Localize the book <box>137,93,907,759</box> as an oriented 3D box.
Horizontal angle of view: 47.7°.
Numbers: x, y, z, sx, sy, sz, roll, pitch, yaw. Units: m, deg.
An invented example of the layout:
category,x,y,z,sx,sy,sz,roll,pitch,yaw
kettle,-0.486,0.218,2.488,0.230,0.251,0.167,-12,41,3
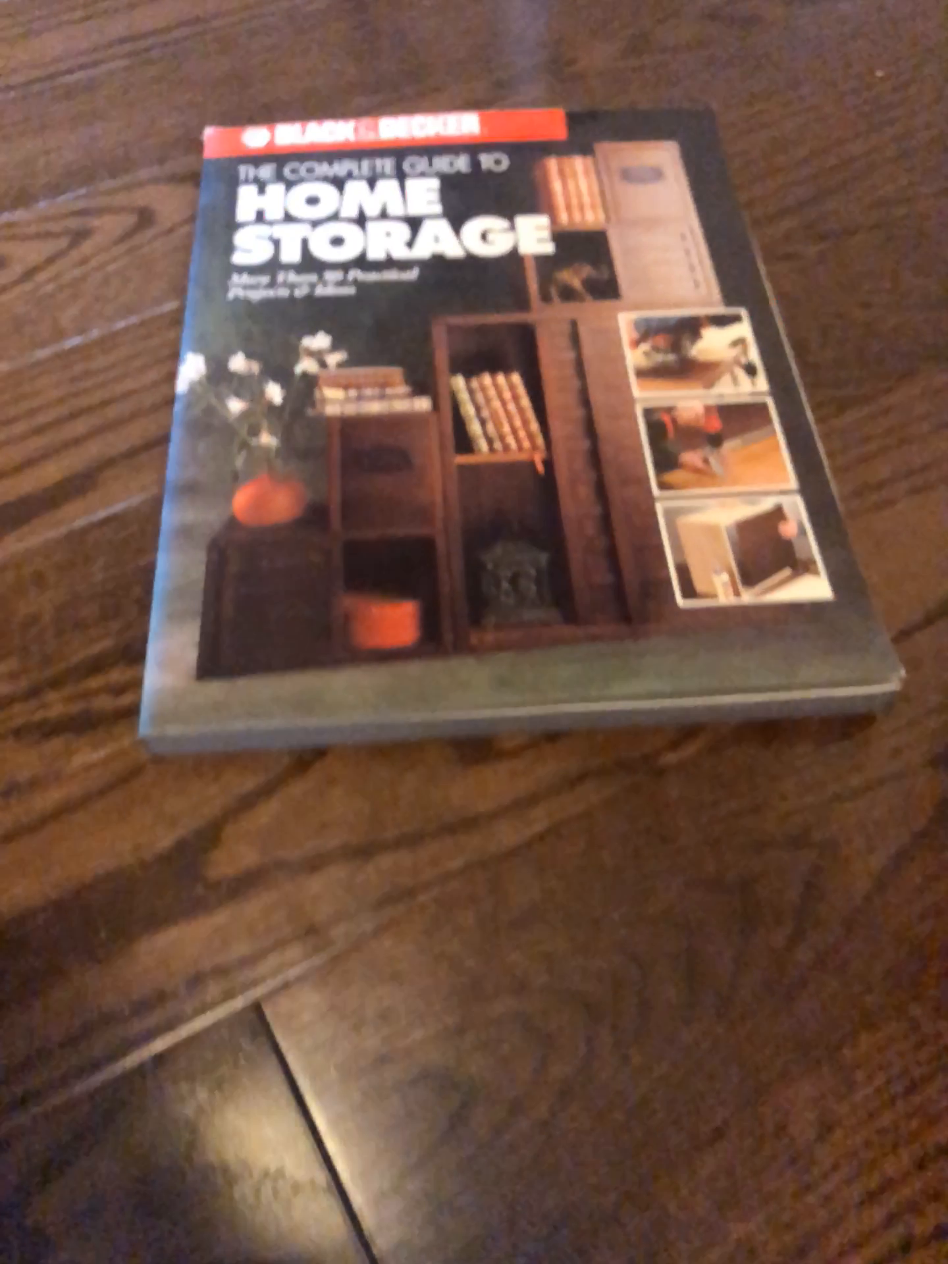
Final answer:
category,x,y,z,sx,sy,sz,roll,pitch,yaw
book,0.004,-0.096,0.382,0.215,0.020,0.287,-3,58,-3
